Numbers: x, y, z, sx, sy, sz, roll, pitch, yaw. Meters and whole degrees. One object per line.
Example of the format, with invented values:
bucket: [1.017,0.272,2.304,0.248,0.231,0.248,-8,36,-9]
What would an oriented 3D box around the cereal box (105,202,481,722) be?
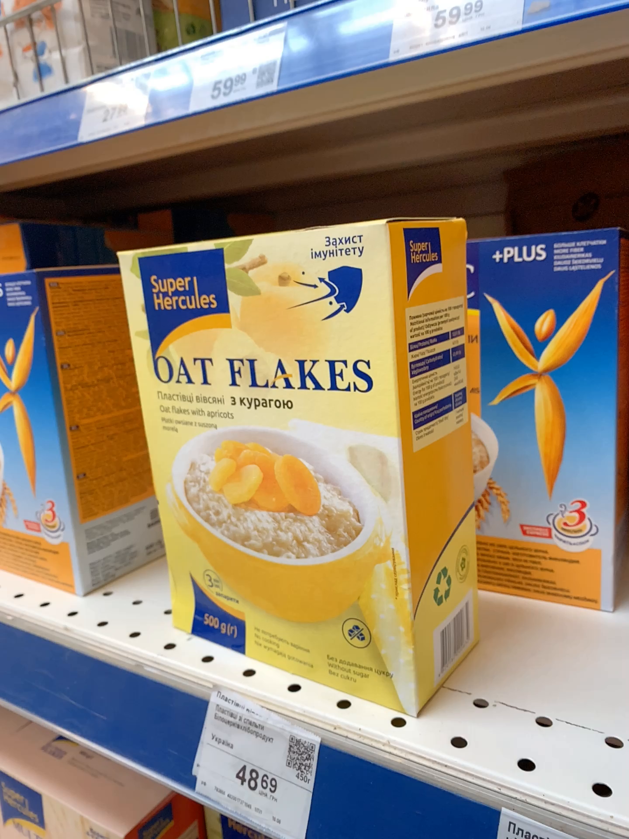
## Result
cereal box: [-0.010,0.010,0.299,0.150,0.189,0.060,4,15,36]
